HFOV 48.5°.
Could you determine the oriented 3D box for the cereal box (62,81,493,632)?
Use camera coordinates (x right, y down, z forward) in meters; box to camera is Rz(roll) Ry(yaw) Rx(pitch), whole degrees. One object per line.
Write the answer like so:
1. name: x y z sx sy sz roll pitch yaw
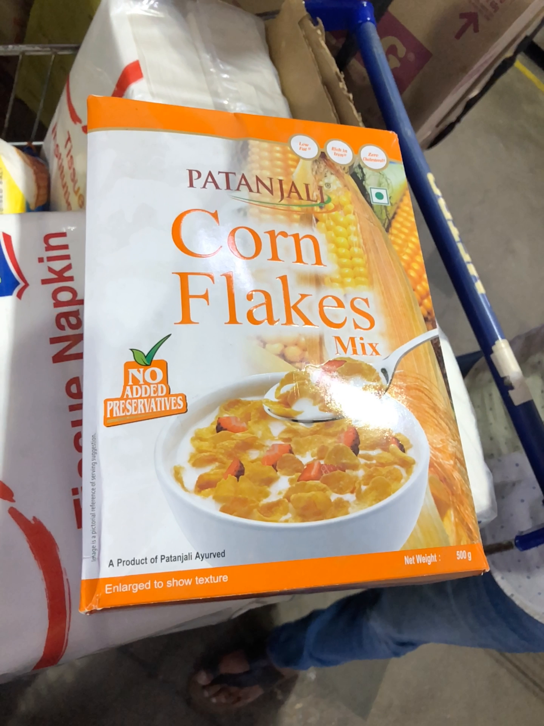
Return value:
1. cereal box: -0.013 -0.011 0.345 0.200 0.080 0.271 -1 71 -18
